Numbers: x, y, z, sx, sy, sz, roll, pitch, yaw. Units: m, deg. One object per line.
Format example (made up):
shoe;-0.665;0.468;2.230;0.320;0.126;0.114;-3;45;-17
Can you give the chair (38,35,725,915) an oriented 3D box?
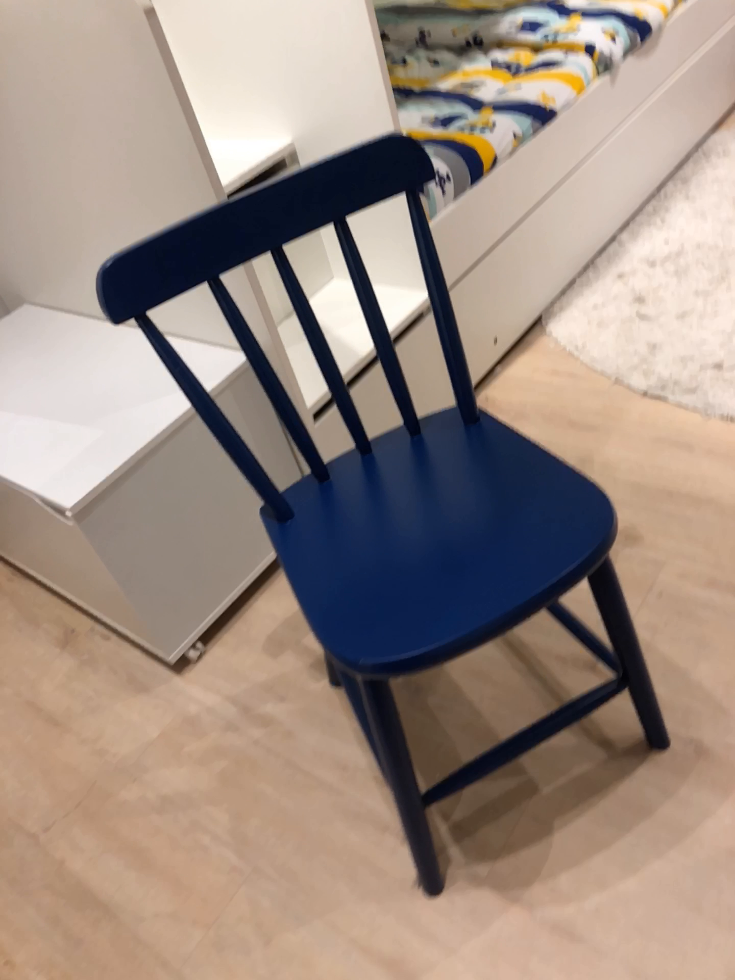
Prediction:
chair;0.055;-0.001;0.958;0.460;0.804;0.483;-27;39;-9
